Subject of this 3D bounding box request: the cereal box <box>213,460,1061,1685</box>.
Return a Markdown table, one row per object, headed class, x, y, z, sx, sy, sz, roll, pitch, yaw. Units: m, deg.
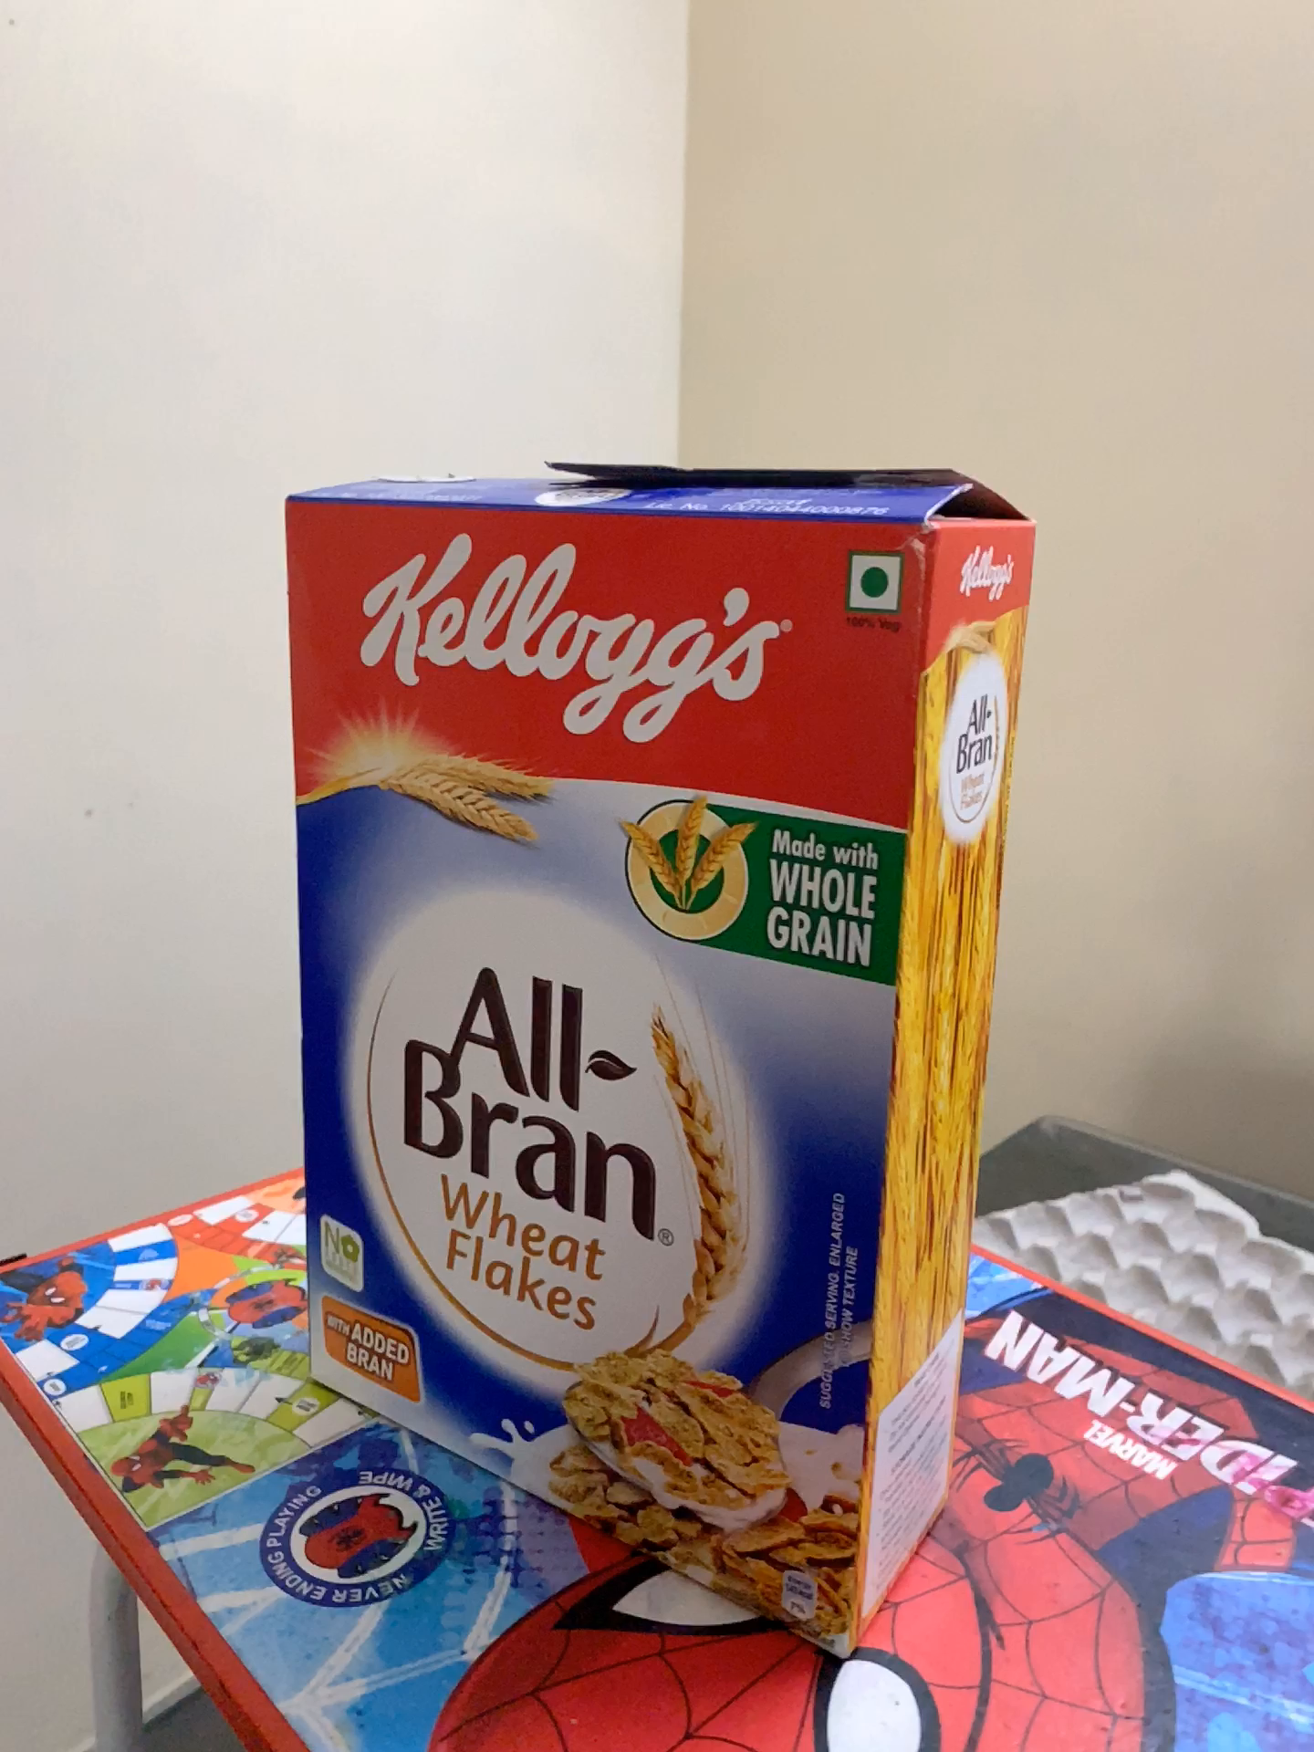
| class | x | y | z | sx | sy | sz | roll | pitch | yaw |
| --- | --- | --- | --- | --- | --- | --- | --- | --- | --- |
| cereal box | -0.016 | 0.029 | 0.334 | 0.190 | 0.249 | 0.060 | 11 | 17 | 33 |
